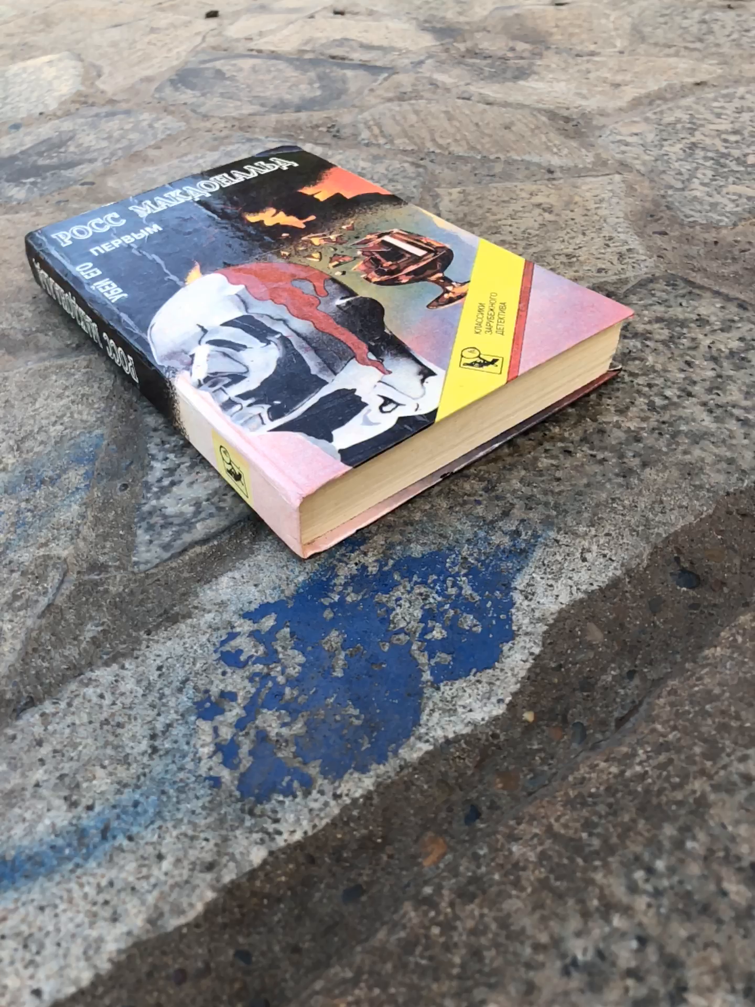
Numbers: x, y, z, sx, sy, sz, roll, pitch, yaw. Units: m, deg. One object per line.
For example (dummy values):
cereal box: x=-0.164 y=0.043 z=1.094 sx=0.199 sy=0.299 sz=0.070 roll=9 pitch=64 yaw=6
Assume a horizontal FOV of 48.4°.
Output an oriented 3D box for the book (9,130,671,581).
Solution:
book: x=-0.026 y=-0.076 z=0.309 sx=0.140 sy=0.030 sz=0.211 roll=-30 pitch=49 yaw=-24
